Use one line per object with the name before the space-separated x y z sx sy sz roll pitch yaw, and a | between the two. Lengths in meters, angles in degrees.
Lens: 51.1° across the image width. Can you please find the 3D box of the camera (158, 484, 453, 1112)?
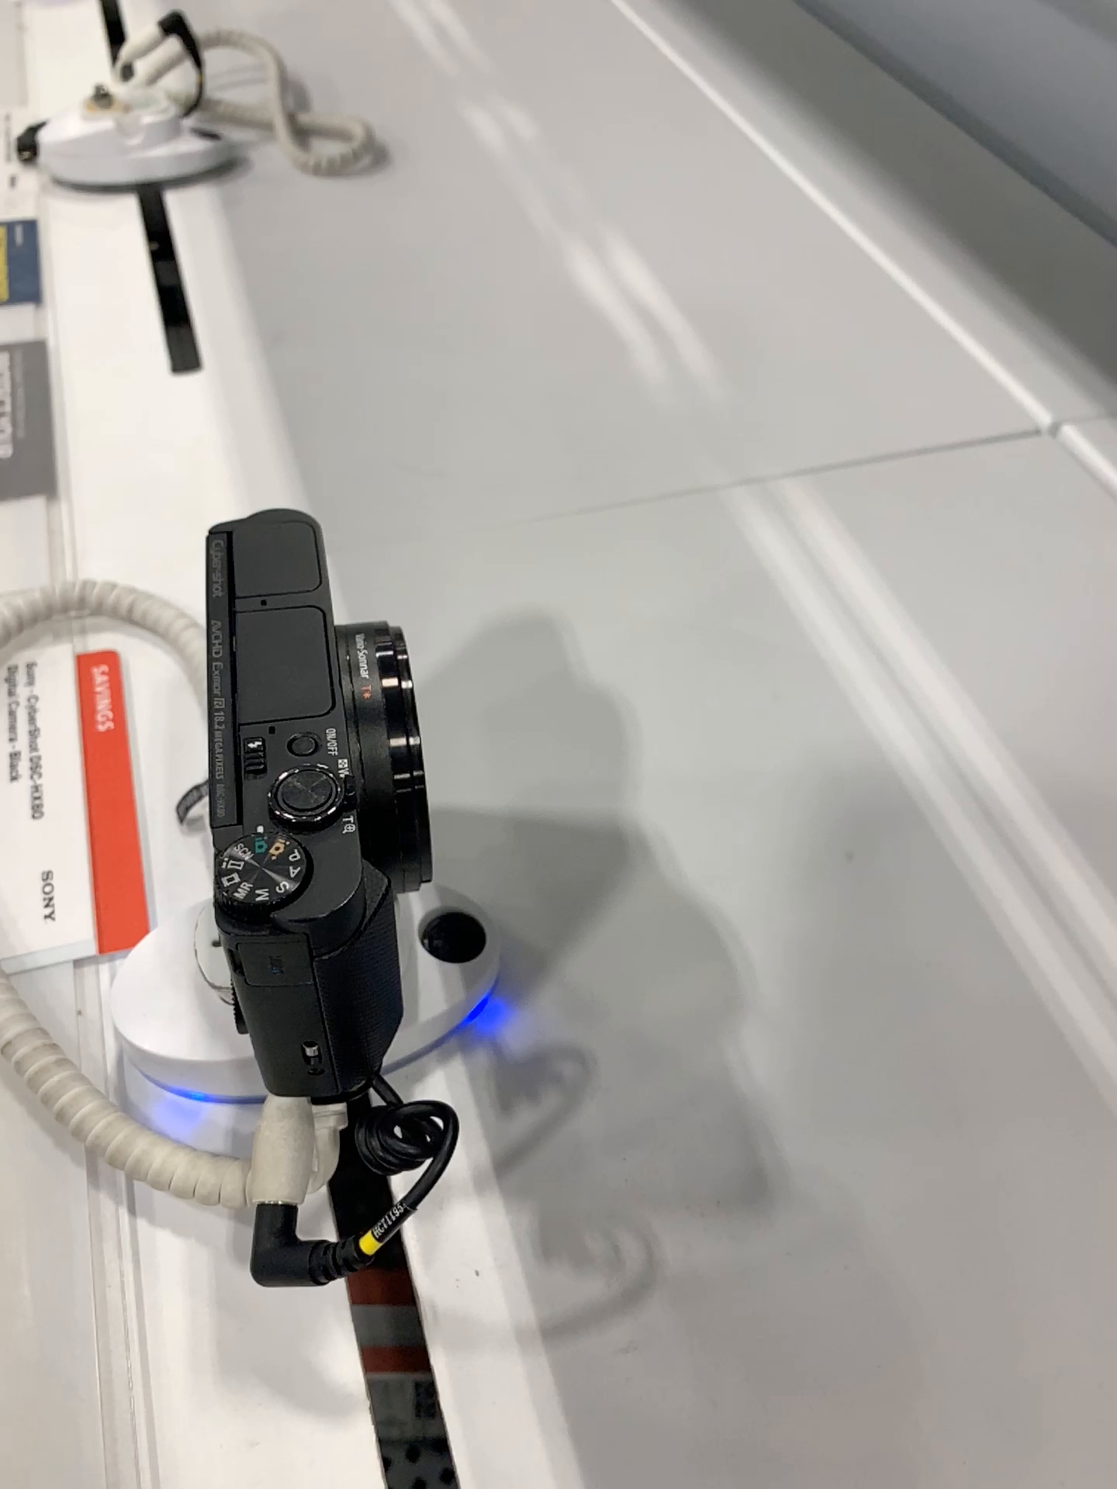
camera | -0.049 0.006 0.222 0.040 0.052 0.104 -8 51 -11
